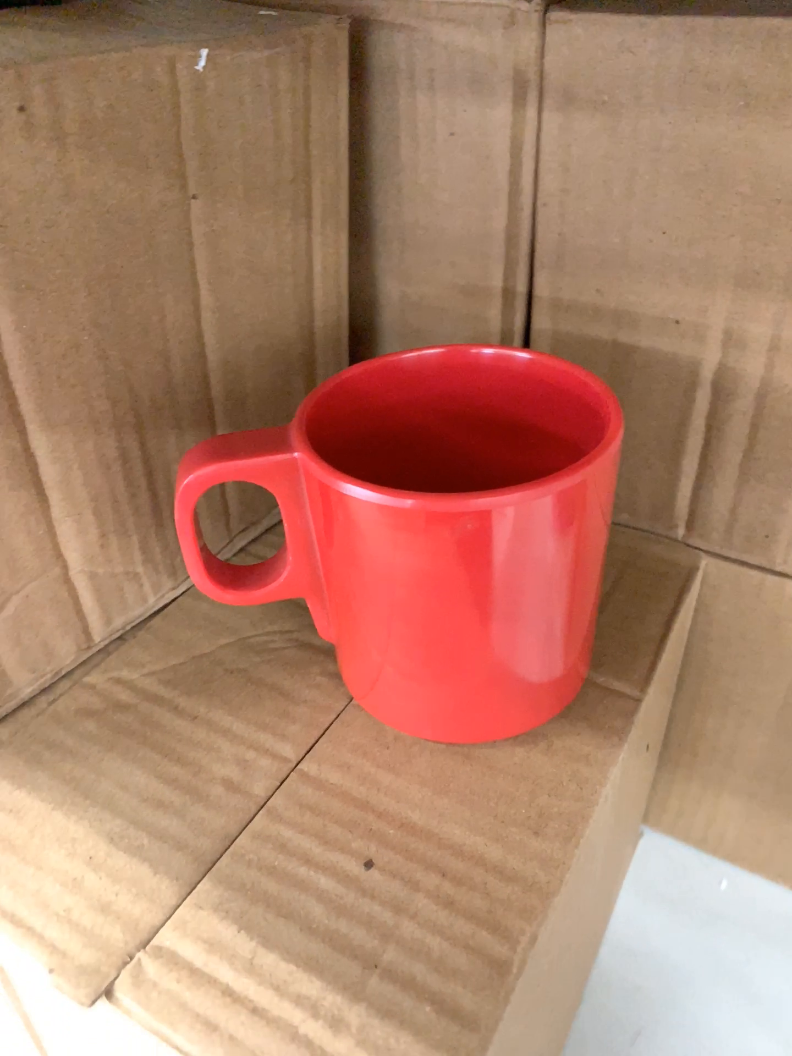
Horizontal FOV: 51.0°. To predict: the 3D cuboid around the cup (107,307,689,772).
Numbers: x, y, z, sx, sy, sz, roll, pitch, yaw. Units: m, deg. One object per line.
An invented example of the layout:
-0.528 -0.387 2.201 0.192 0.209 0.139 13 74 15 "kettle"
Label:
0.000 0.001 0.208 0.110 0.079 0.071 -6 37 -3 "cup"
